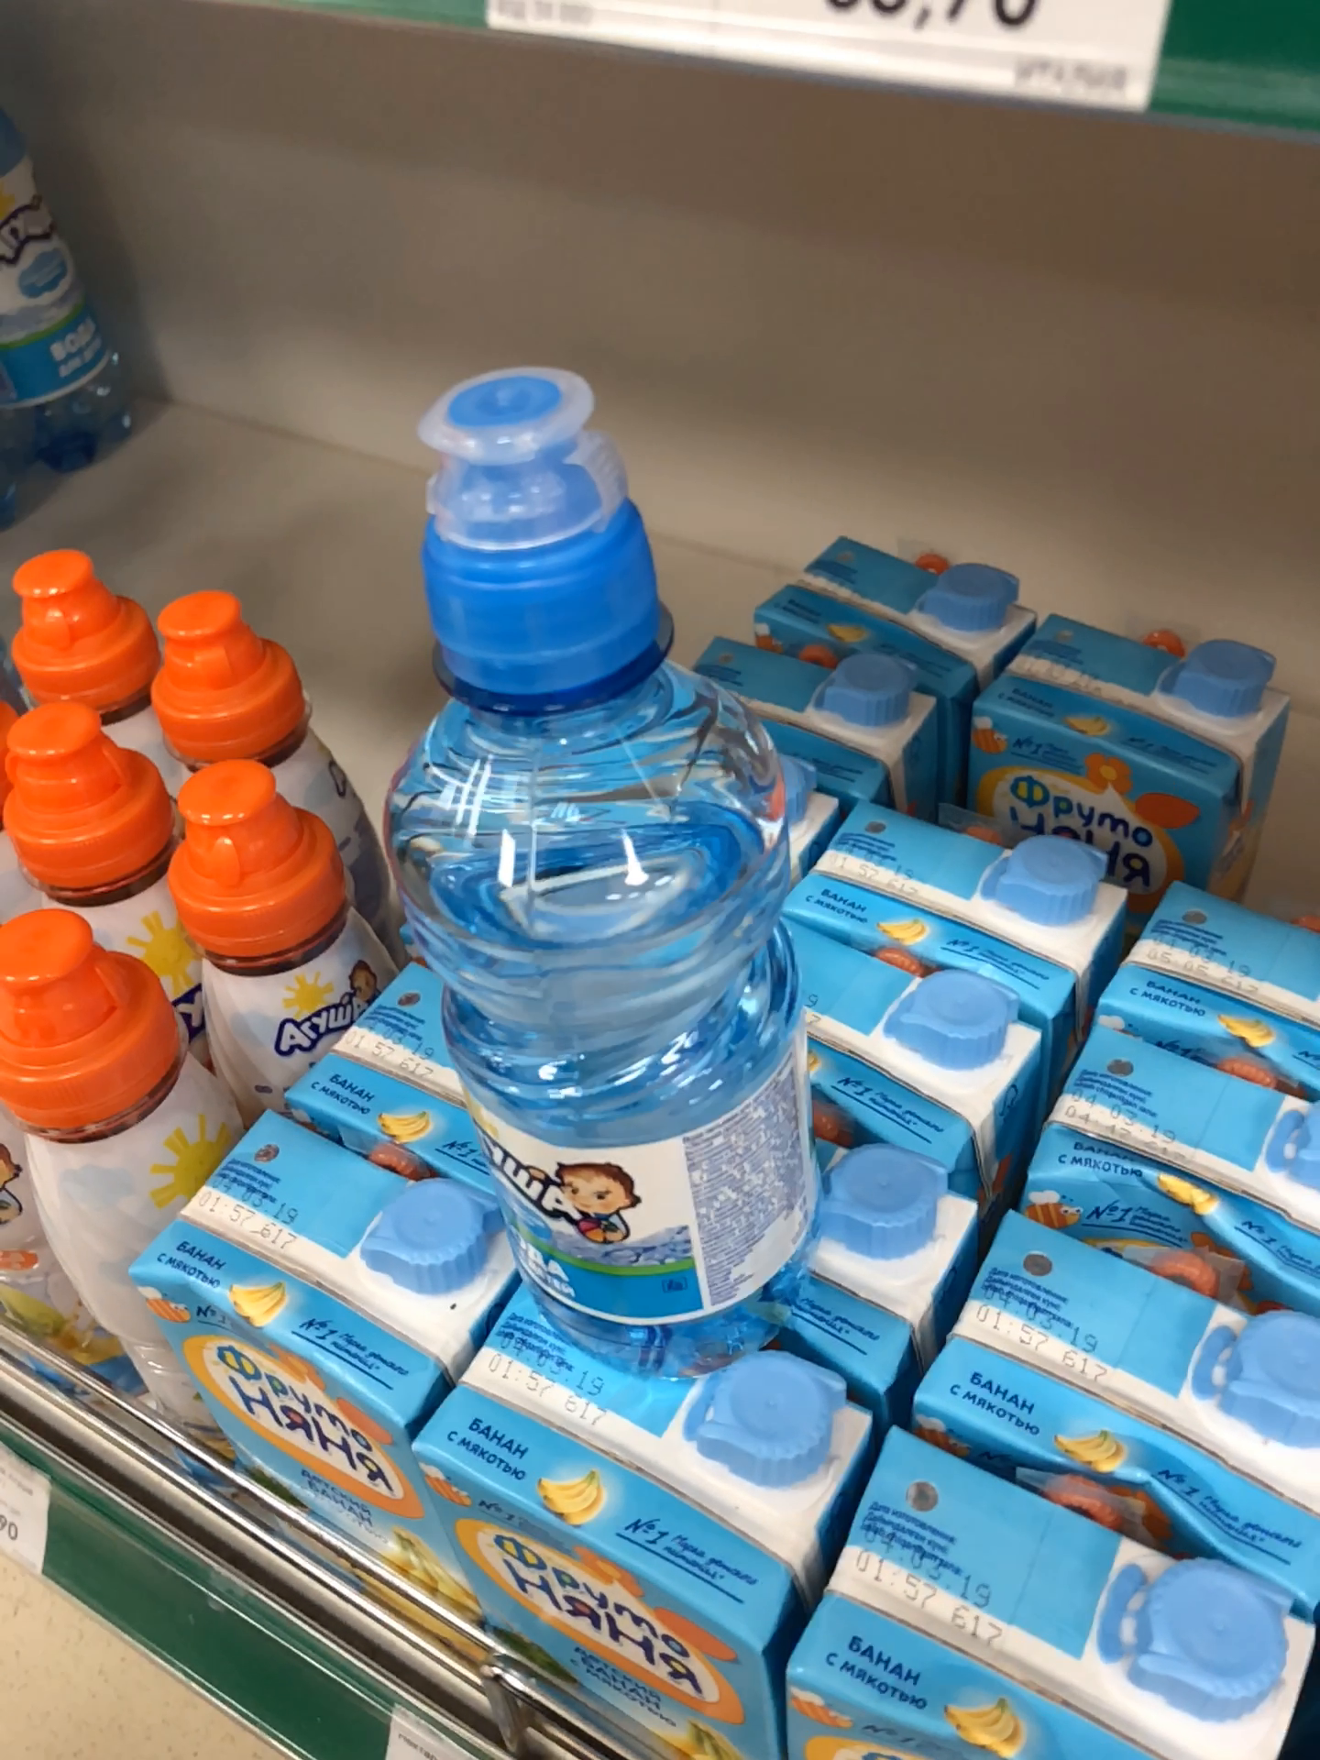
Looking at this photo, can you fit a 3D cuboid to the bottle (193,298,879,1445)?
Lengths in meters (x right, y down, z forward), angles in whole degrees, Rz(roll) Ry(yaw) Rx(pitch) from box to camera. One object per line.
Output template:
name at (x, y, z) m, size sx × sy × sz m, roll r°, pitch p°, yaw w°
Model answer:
bottle at (-0.007, 0.010, 0.232) m, size 0.060 × 0.174 × 0.056 m, roll -4°, pitch 43°, yaw 4°
